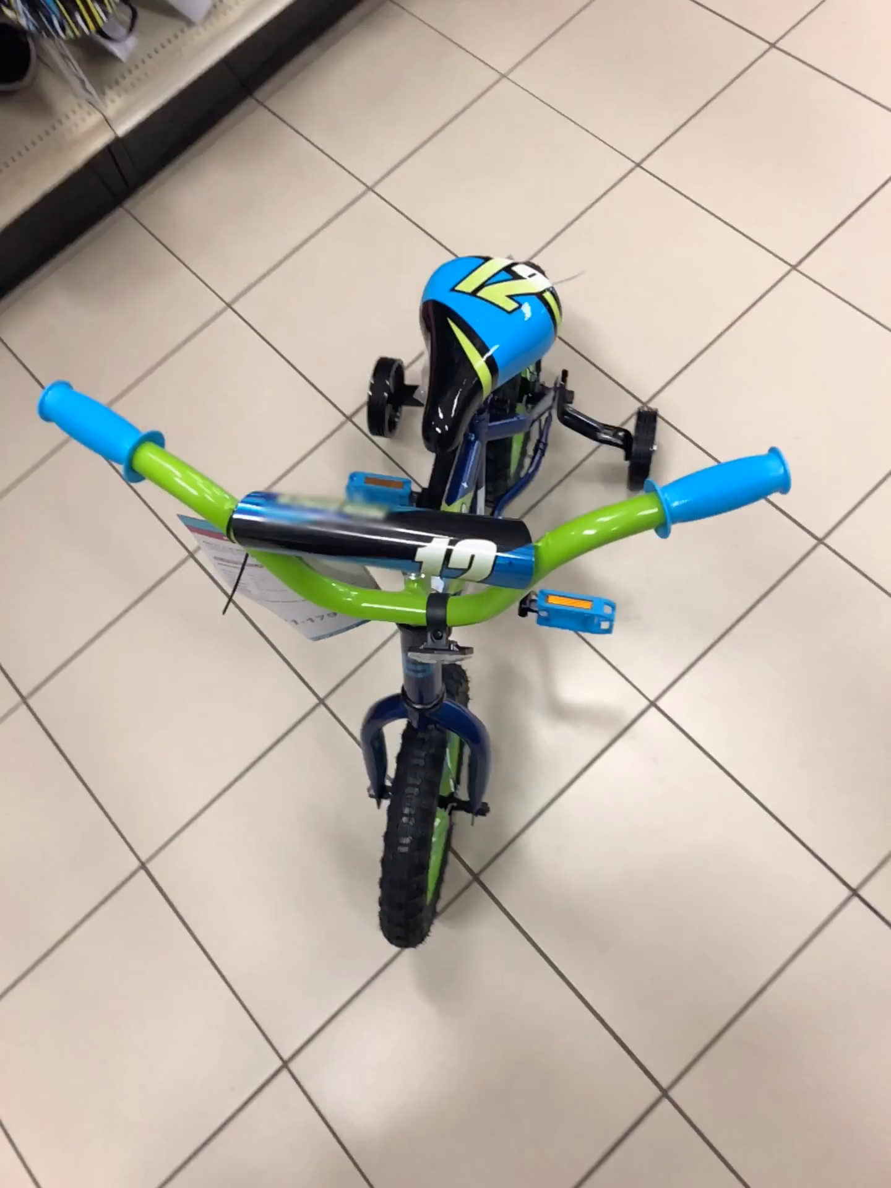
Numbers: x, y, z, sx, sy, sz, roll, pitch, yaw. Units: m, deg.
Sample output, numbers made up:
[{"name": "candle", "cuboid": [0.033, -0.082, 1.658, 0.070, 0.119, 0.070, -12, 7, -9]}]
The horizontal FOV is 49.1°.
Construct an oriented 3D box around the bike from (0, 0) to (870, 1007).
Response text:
[{"name": "bike", "cuboid": [0.008, -0.091, 0.941, 0.548, 0.677, 0.795, 8, 71, 13]}]
